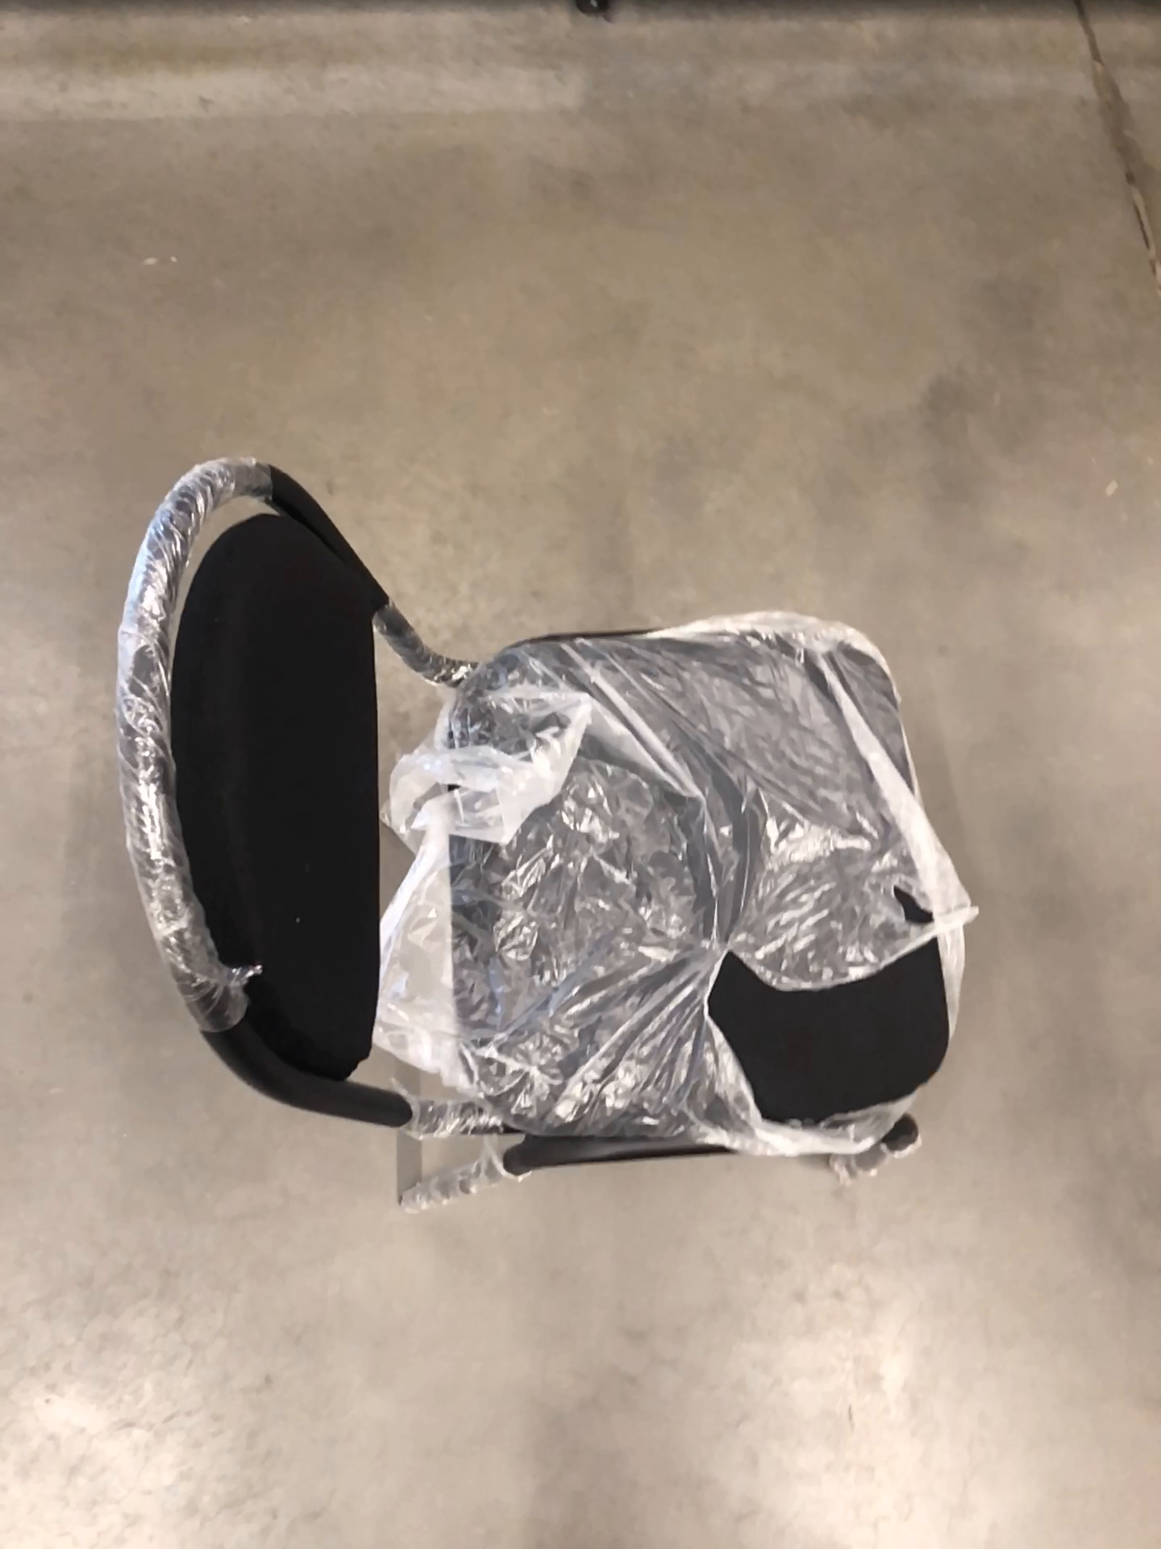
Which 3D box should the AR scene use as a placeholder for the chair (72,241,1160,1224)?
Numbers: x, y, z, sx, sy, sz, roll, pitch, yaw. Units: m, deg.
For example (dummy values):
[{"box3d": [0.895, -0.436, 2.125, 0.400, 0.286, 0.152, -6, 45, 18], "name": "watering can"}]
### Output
[{"box3d": [0.043, 0.089, 0.992, 0.550, 0.878, 0.451, -3, 70, -4], "name": "chair"}]
